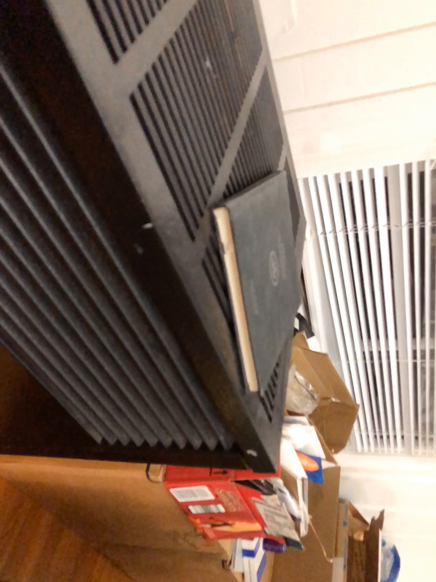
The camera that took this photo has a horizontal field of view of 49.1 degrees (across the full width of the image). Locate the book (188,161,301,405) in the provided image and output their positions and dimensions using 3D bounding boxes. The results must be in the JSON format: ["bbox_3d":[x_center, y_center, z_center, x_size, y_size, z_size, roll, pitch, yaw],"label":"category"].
[{"bbox_3d":[0.041,-0.030,0.457,0.251,0.020,0.160,-49,131,-63],"label":"book"}]
